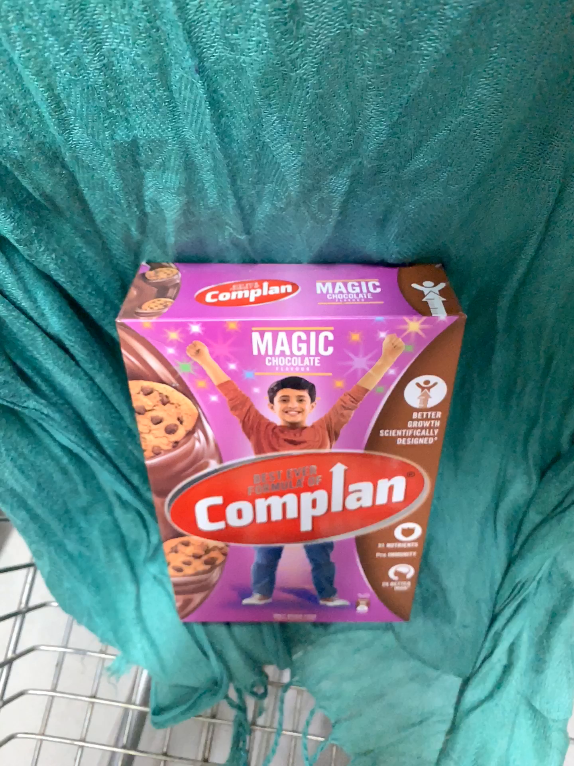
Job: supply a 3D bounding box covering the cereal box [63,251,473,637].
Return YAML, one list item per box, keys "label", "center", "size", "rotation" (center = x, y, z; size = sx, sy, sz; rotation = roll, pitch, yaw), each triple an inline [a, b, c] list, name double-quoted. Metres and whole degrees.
- label: "cereal box"
  center: [-0.005, 0.046, 0.316]
  size: [0.160, 0.220, 0.050]
  rotation: [-1, 34, 2]
